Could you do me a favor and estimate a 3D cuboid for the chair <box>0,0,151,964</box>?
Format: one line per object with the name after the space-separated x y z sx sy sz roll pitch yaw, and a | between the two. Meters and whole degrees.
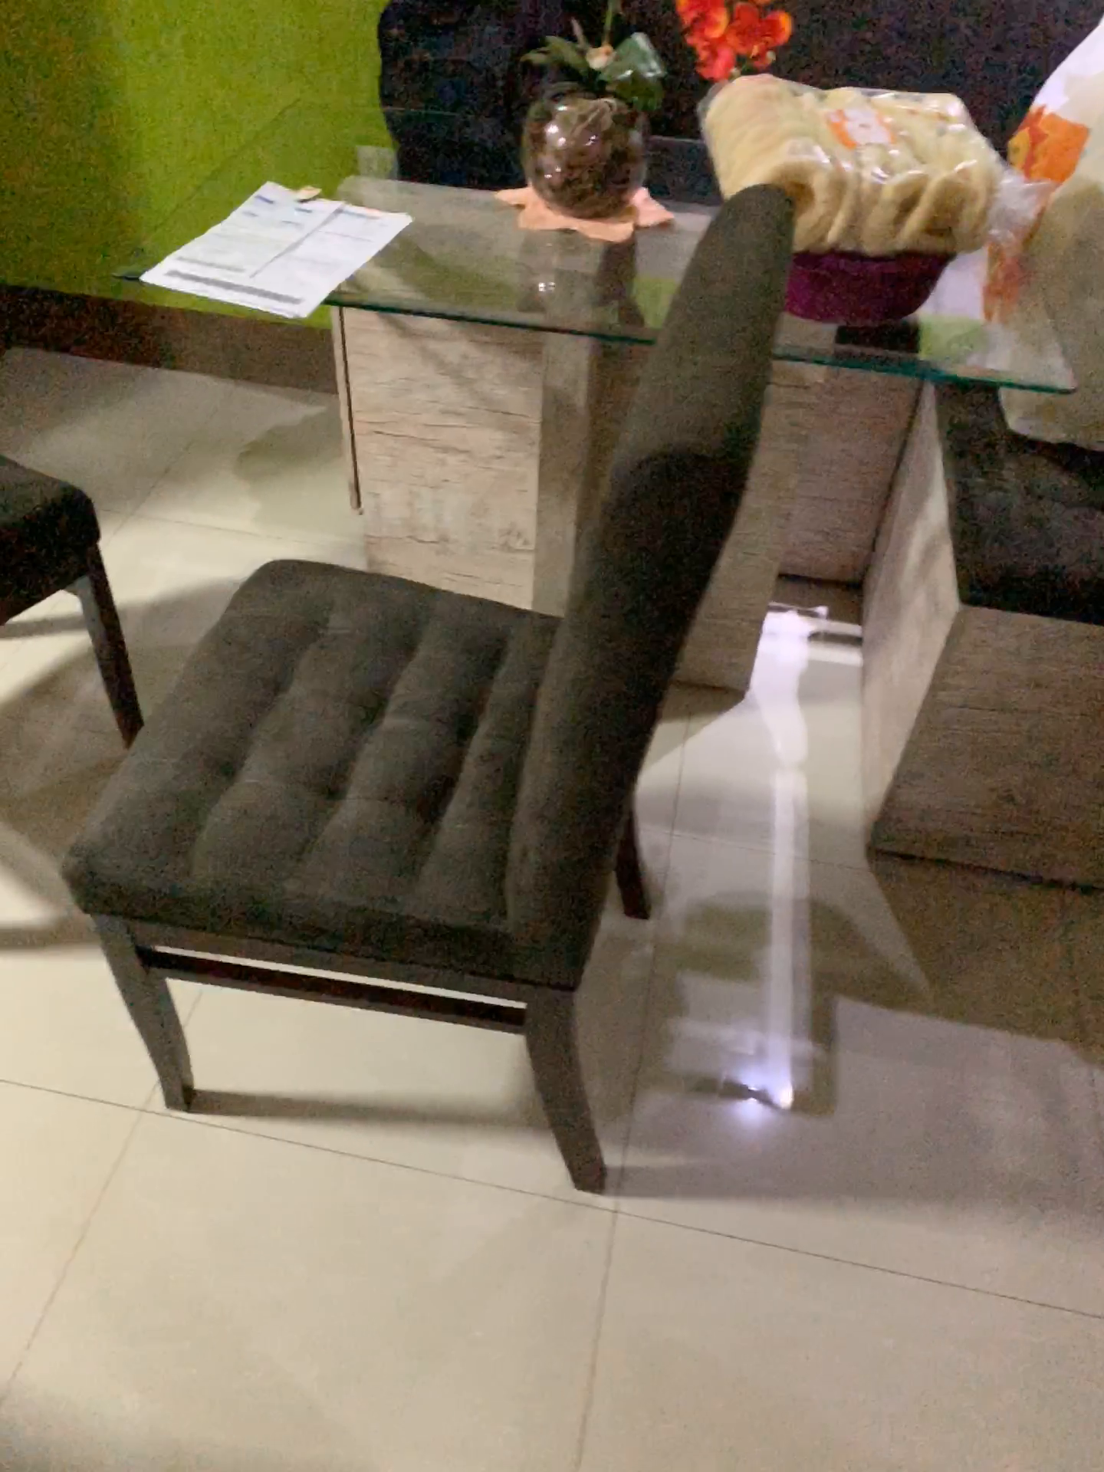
-0.990 -0.305 1.405 0.571 0.981 0.493 26 48 21 | chair

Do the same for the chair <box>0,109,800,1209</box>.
-0.132 -0.022 1.189 0.570 0.971 0.525 10 44 6 | chair
